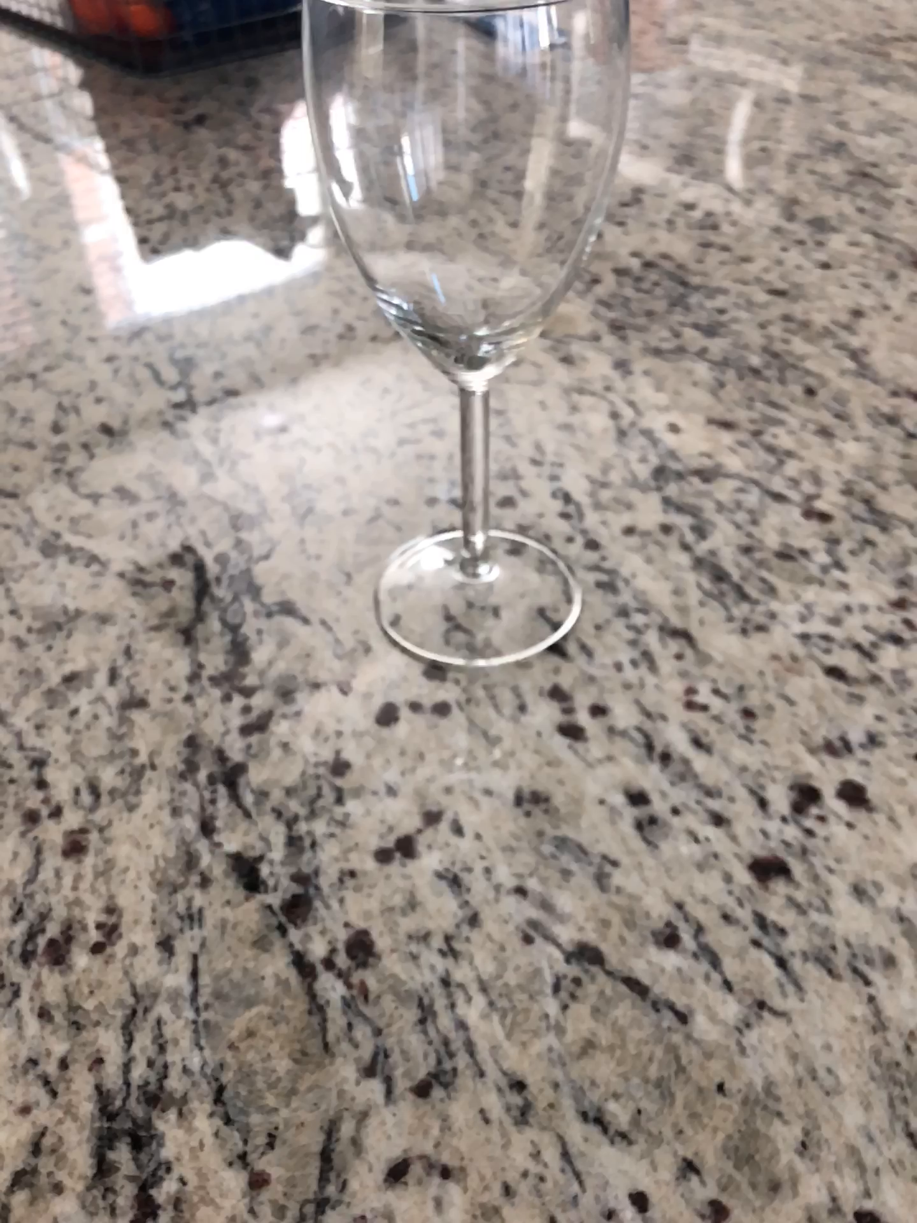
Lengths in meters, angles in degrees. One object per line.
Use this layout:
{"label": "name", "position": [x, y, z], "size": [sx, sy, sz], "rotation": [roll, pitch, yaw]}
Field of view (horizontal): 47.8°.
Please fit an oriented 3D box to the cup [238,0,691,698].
{"label": "cup", "position": [0.000, -0.069, 0.267], "size": [0.080, 0.169, 0.081], "rotation": [-1, 41, 1]}
